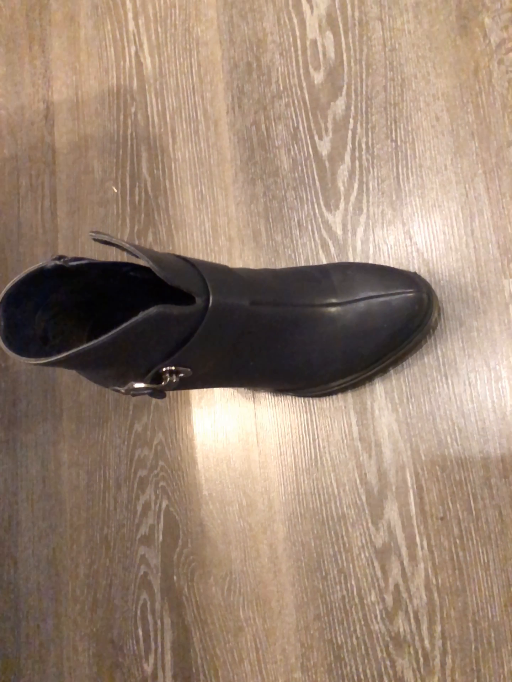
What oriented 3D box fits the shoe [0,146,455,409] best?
[{"bbox_3d":[-0.004,-0.015,0.345,0.220,0.180,0.100,-1,82,26],"label":"shoe"}]
